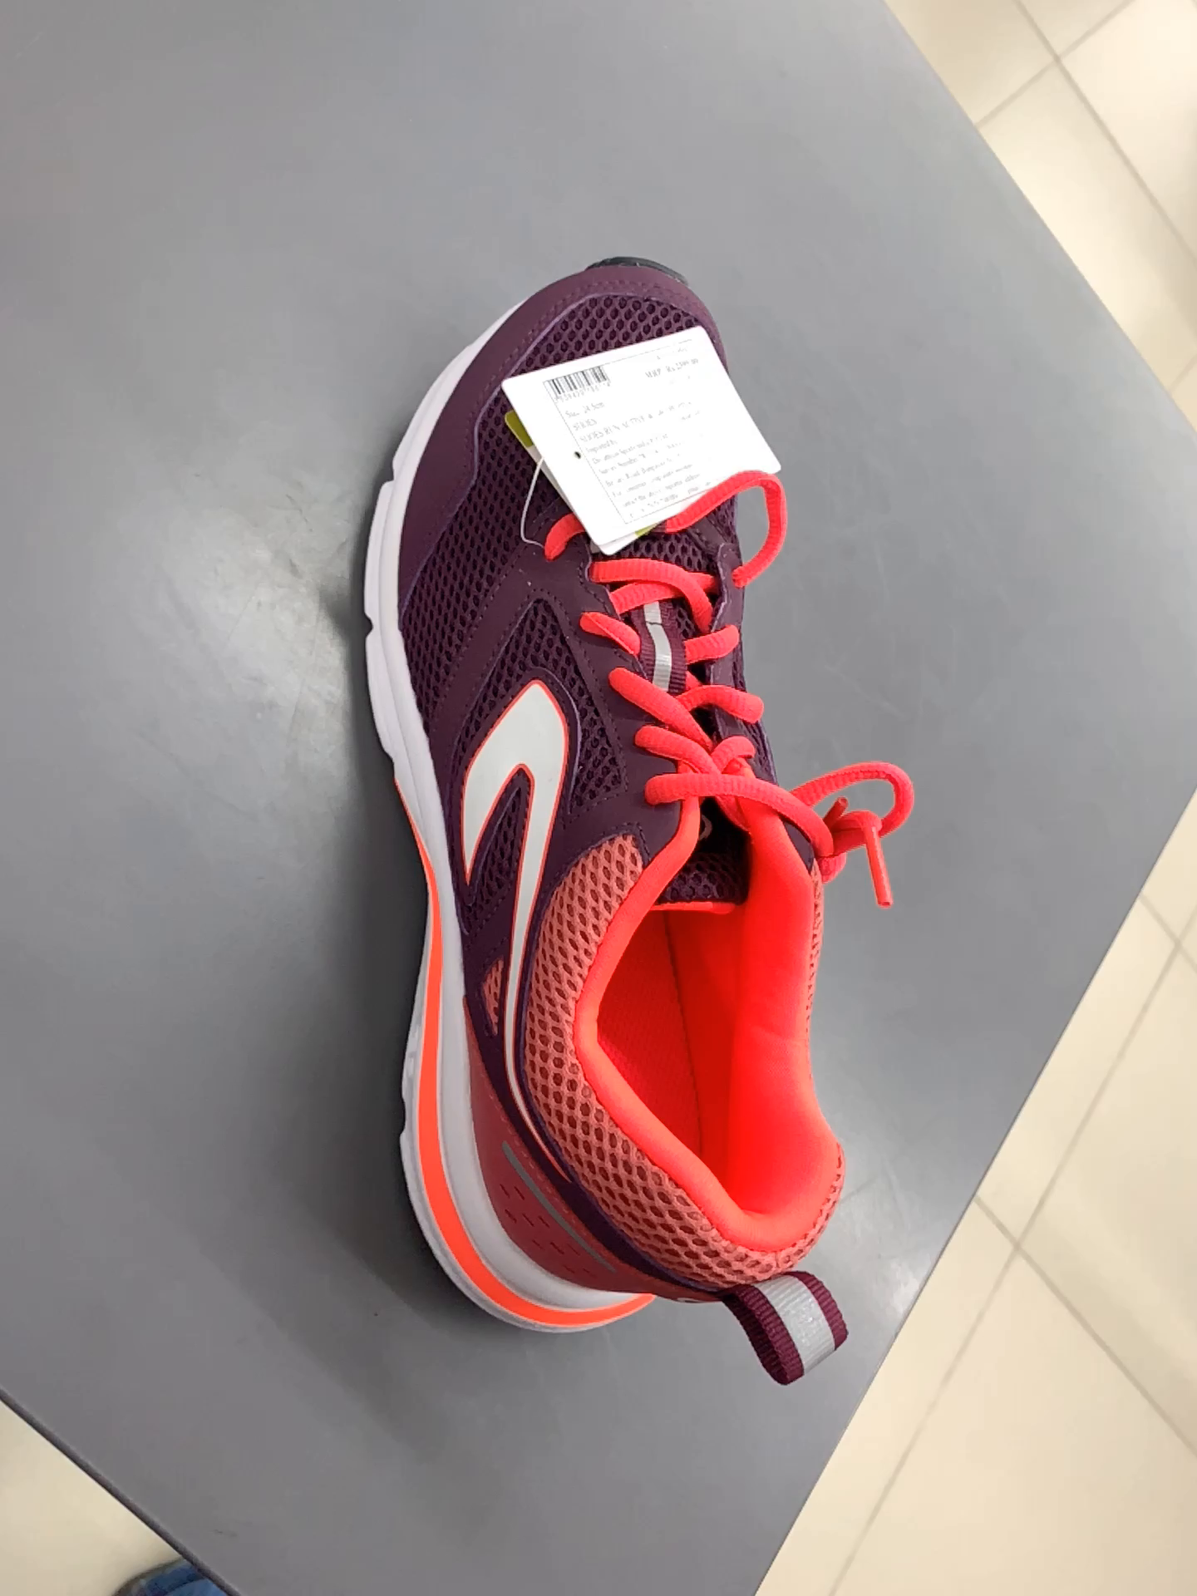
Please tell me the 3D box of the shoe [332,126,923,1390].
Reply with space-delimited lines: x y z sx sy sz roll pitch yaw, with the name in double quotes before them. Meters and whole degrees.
"shoe" -0.002 -0.010 0.334 0.110 0.100 0.280 5 76 -28
